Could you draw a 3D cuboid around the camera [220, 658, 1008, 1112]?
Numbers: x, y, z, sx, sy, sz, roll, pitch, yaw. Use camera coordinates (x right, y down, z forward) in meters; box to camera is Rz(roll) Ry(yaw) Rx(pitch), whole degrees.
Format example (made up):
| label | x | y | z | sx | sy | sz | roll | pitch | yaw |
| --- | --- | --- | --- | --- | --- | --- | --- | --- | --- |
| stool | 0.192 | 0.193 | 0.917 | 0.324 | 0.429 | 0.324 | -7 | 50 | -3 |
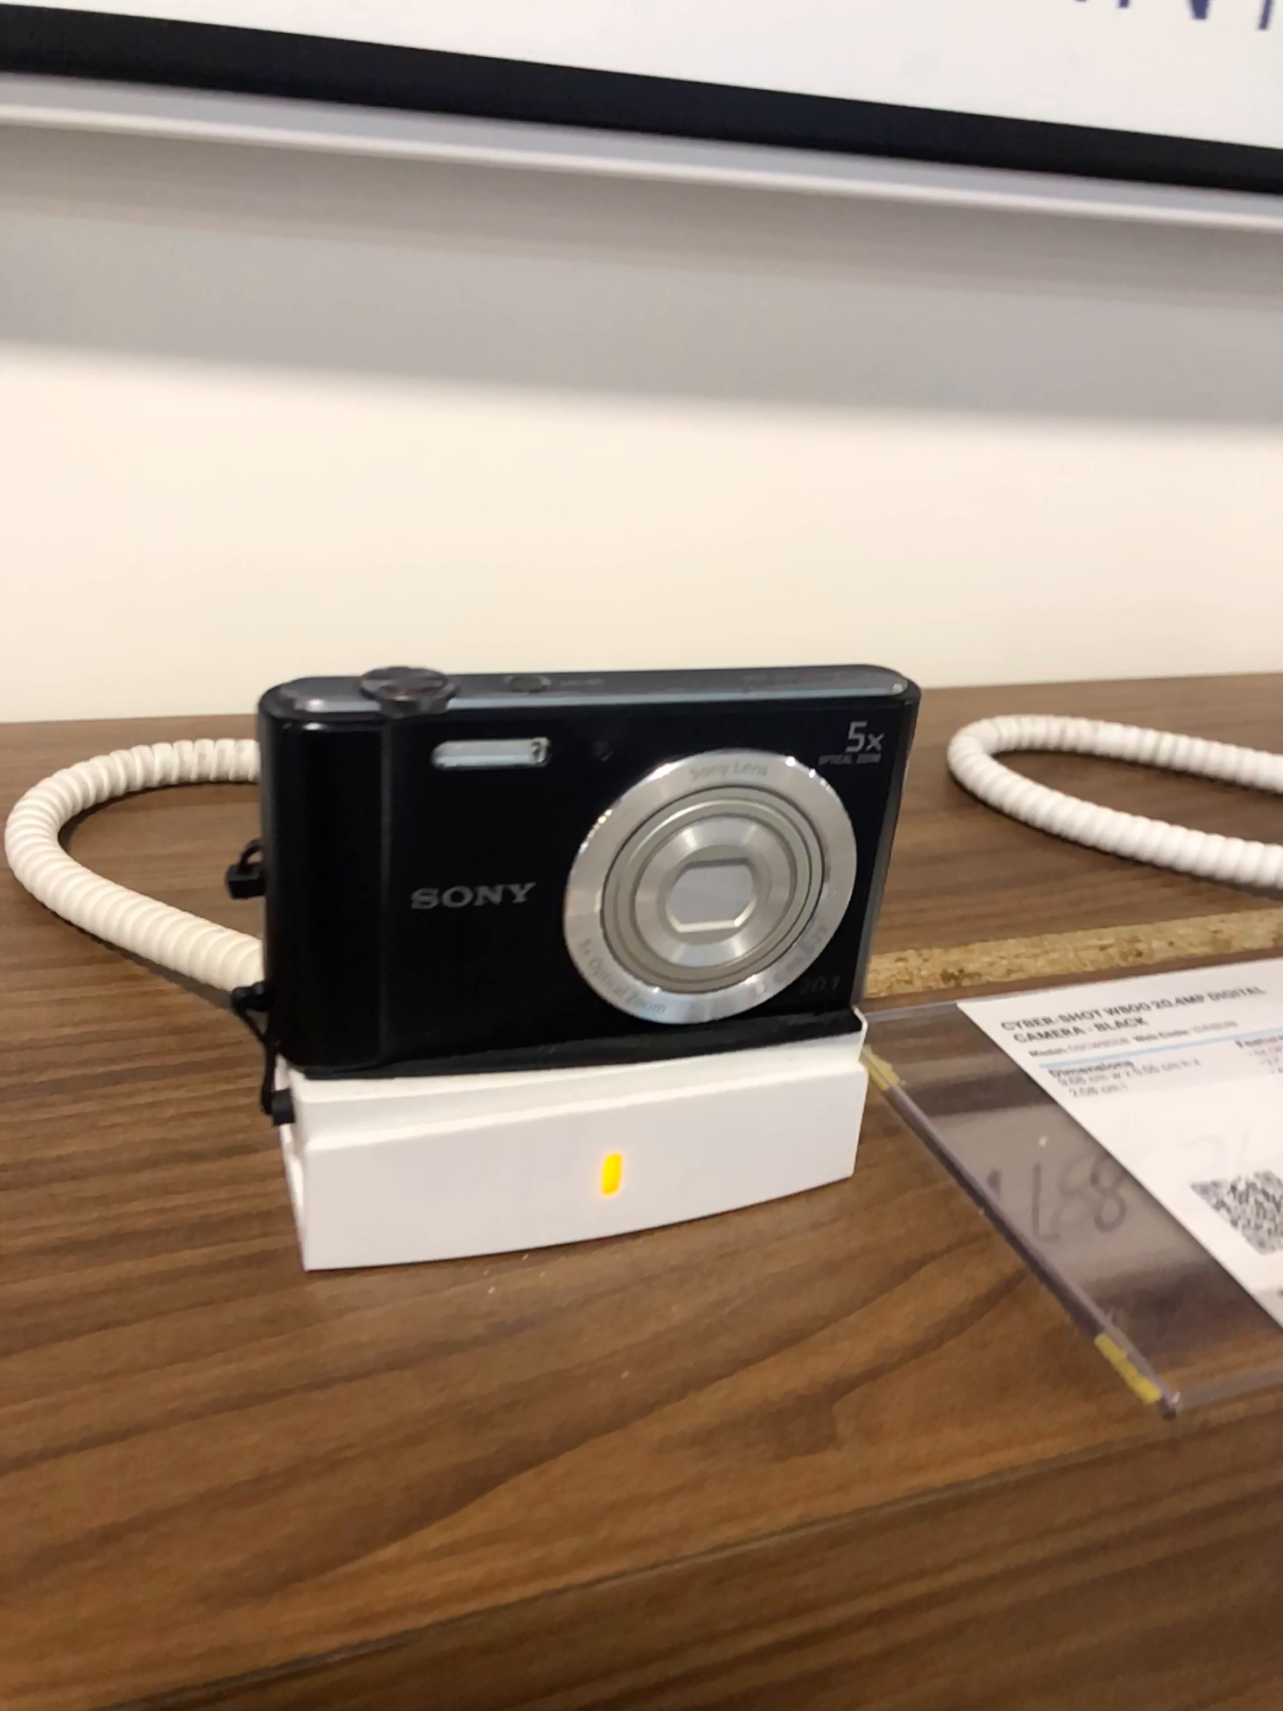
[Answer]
| label | x | y | z | sx | sy | sz | roll | pitch | yaw |
| --- | --- | --- | --- | --- | --- | --- | --- | --- | --- |
| camera | -0.005 | 0.001 | 0.198 | 0.100 | 0.050 | 0.030 | -3 | 24 | -16 |
